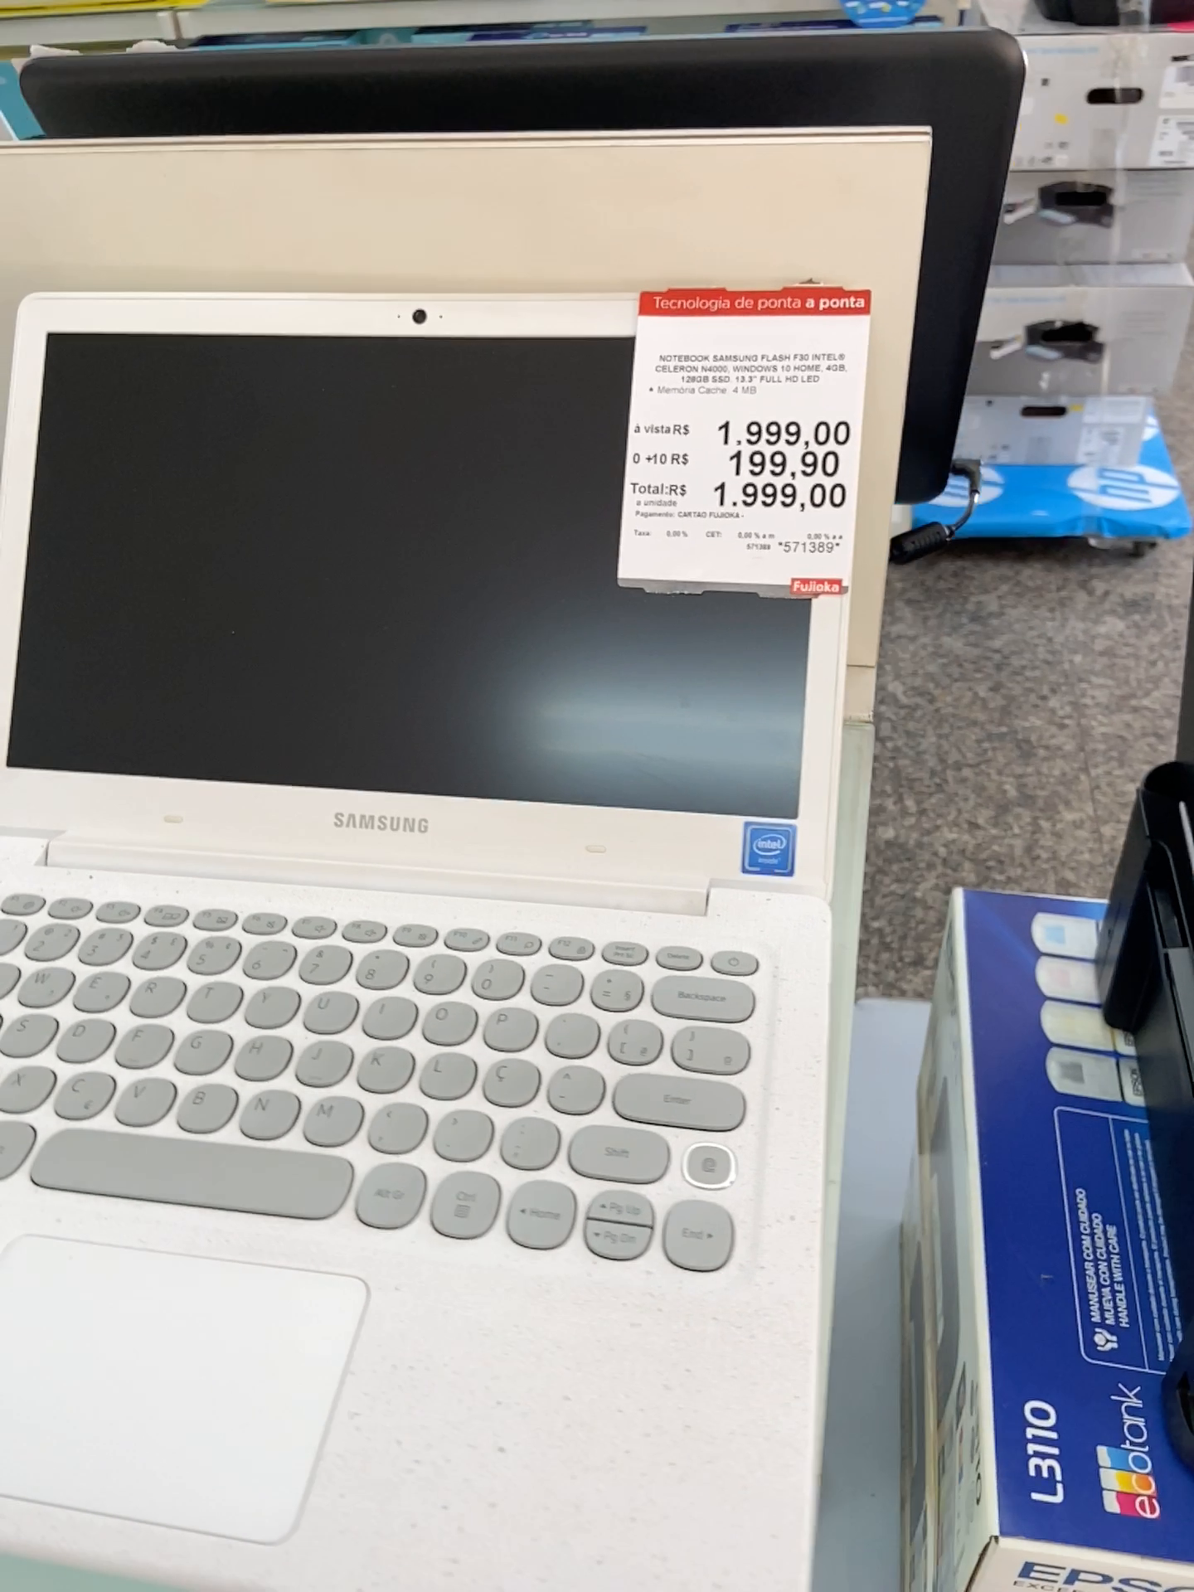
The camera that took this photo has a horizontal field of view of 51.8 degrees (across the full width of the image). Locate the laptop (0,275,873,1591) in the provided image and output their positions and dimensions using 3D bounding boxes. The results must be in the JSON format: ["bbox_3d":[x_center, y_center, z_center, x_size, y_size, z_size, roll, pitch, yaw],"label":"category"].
[{"bbox_3d":[-0.088,-0.009,0.354,0.314,0.140,0.362,4,43,10],"label":"laptop"}]
